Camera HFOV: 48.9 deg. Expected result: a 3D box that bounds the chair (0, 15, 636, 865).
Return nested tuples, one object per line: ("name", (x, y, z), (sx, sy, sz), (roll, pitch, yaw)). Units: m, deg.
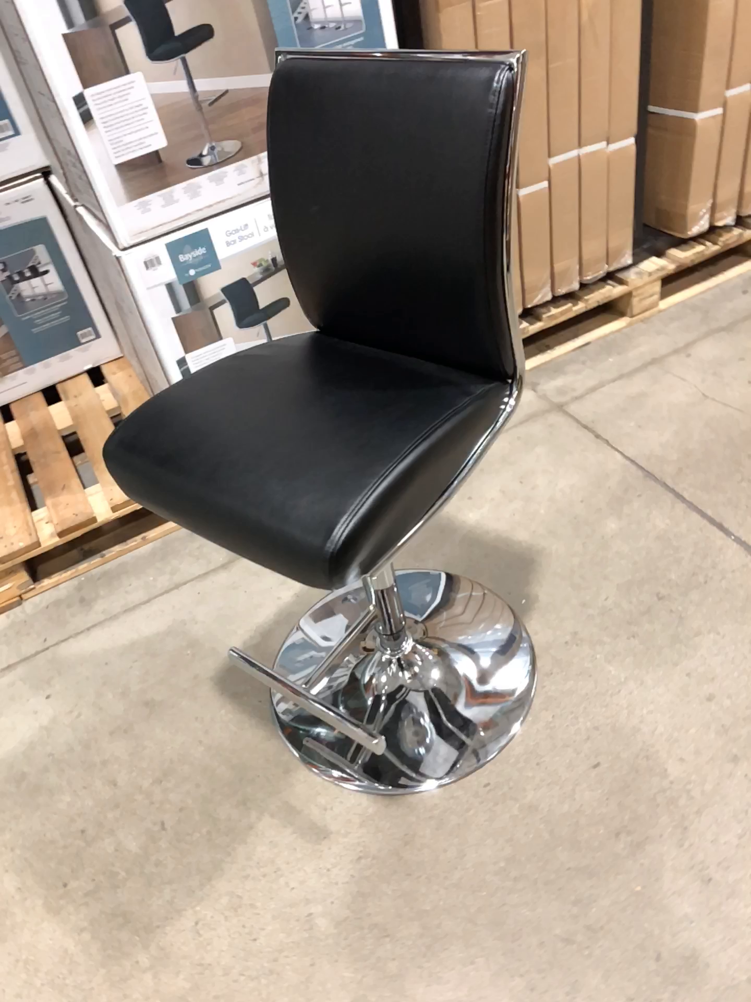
("chair", (-0.019, -0.071, 1.165), (0.531, 0.946, 0.541), (19, 49, 31))
